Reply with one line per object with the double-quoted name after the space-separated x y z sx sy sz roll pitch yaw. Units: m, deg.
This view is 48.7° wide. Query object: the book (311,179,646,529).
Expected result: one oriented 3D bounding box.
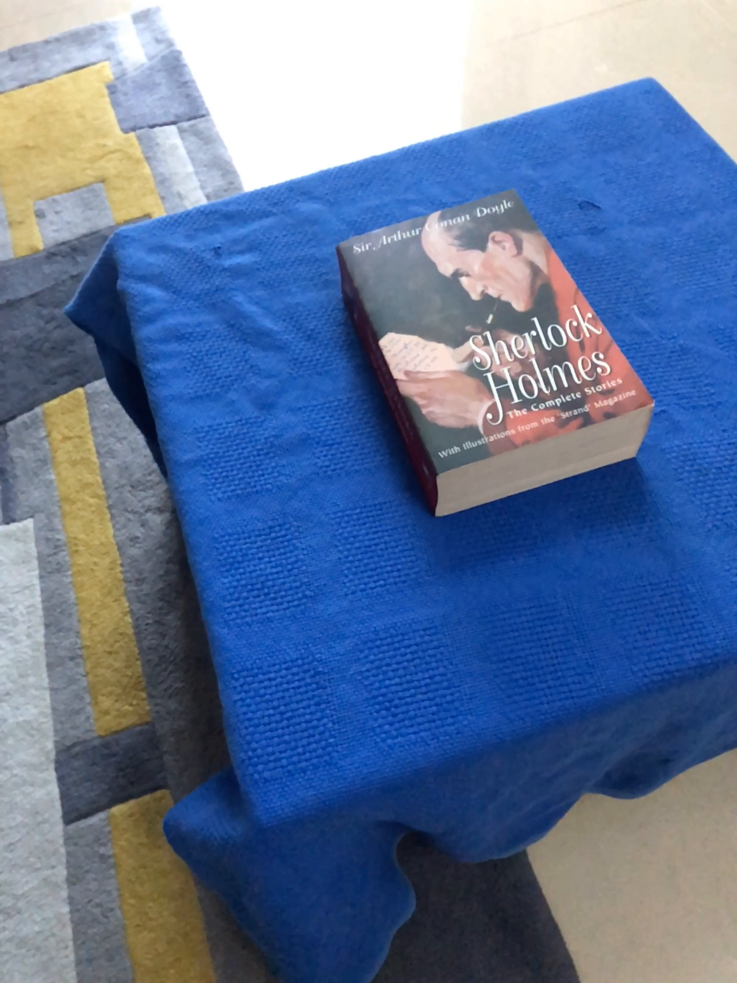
0.070 -0.112 0.610 0.160 0.070 0.241 -18 58 -5 "book"
